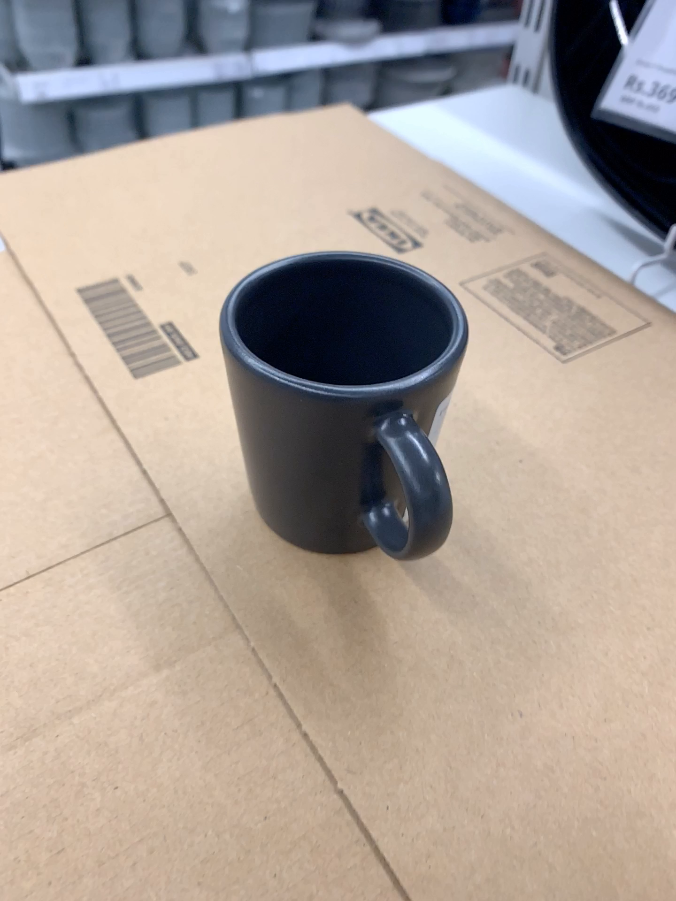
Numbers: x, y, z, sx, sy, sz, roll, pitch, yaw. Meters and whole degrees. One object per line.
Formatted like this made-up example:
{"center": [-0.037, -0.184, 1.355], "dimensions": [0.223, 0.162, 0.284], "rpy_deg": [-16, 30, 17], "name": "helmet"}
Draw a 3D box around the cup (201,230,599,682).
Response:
{"center": [0.007, -0.002, 0.185], "dimensions": [0.060, 0.070, 0.080], "rpy_deg": [-14, 48, -19], "name": "cup"}
